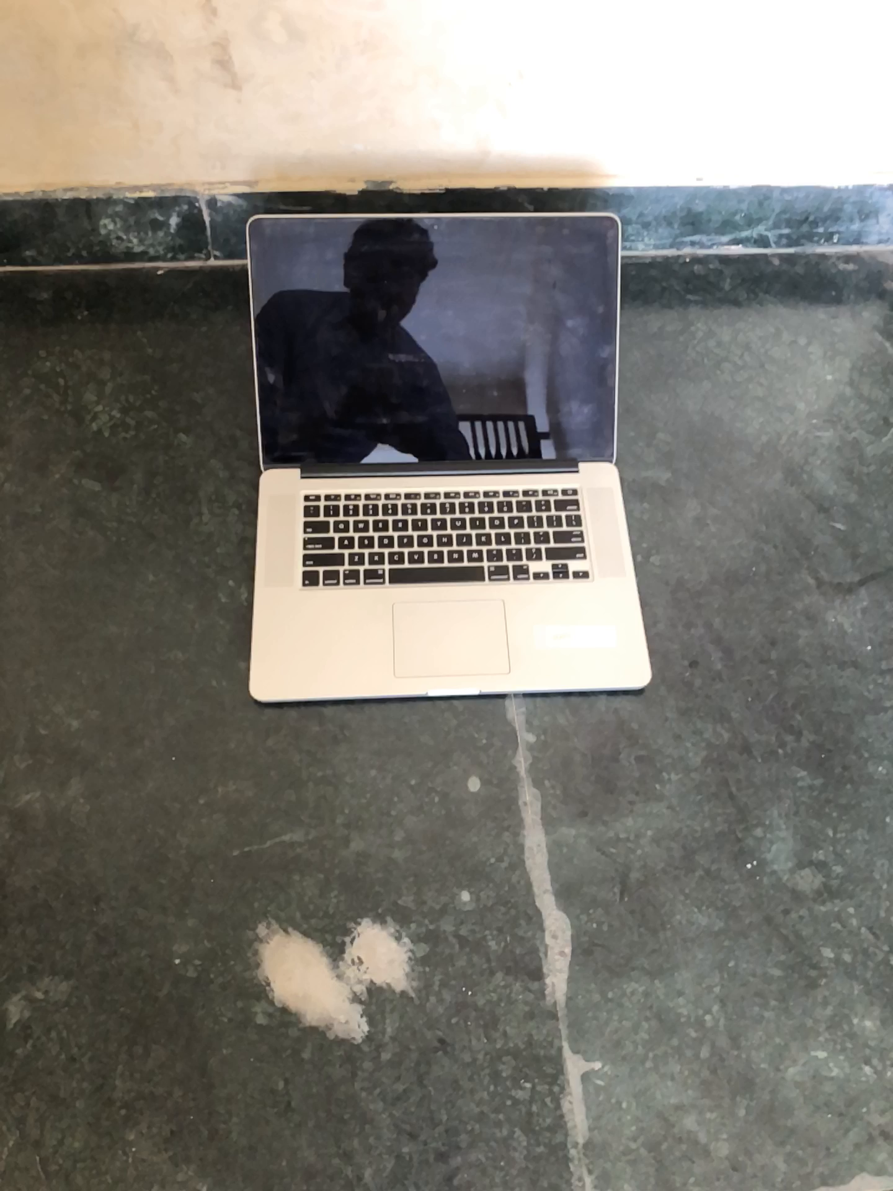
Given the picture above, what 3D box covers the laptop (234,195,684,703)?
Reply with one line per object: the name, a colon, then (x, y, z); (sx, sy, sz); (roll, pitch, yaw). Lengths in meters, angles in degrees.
laptop: (-0.001, -0.146, 0.891); (0.342, 0.131, 0.434); (-2, 65, -5)
